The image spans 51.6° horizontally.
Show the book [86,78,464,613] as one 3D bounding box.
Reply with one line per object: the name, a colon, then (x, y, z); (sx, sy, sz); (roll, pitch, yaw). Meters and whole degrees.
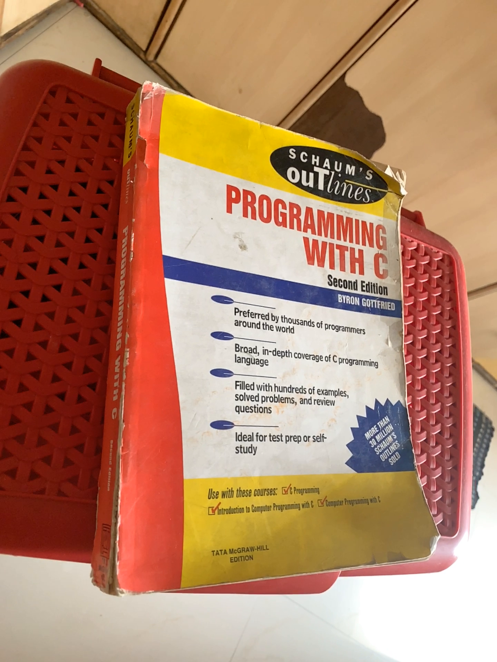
book: (0.024, 0.008, 0.301); (0.201, 0.050, 0.250); (8, 73, -27)
